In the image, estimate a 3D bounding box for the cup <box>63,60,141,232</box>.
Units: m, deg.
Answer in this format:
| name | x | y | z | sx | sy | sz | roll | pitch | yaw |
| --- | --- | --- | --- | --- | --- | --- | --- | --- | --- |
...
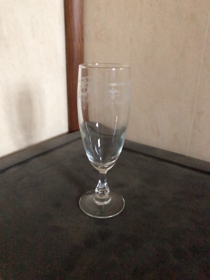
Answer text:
| name | x | y | z | sx | sy | sz | roll | pitch | yaw |
| --- | --- | --- | --- | --- | --- | --- | --- | --- | --- |
| cup | 0.000 | 0.006 | 0.253 | 0.060 | 0.169 | 0.060 | 1 | 22 | 0 |
